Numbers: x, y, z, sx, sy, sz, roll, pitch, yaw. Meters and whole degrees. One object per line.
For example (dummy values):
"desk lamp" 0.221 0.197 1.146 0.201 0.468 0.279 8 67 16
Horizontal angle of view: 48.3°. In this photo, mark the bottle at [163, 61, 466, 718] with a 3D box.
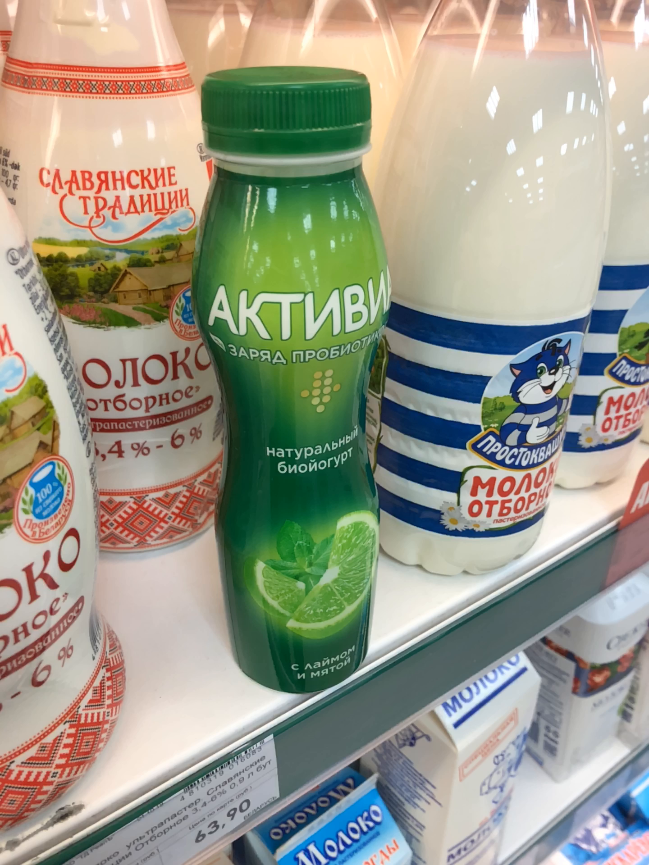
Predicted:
"bottle" -0.006 -0.005 0.210 0.053 0.179 0.052 1 32 -1
